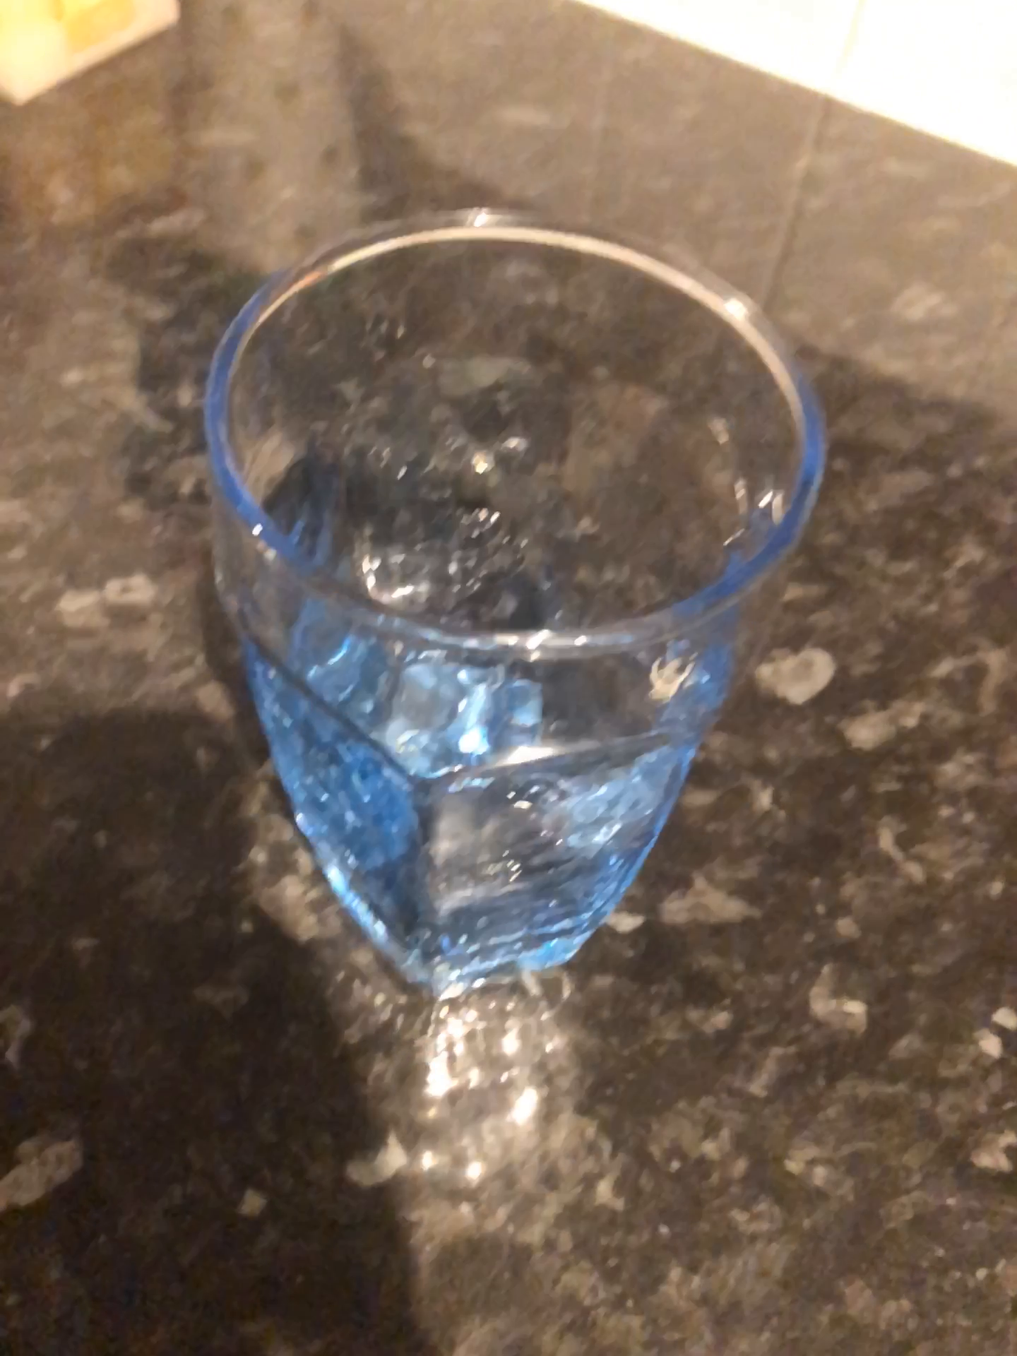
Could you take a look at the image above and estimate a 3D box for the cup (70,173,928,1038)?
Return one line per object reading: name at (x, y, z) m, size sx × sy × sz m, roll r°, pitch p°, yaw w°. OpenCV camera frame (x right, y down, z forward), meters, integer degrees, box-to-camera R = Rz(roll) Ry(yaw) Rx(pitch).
cup at (-0.006, -0.001, 0.174) m, size 0.080 × 0.119 × 0.070 m, roll -1°, pitch 55°, yaw -6°
